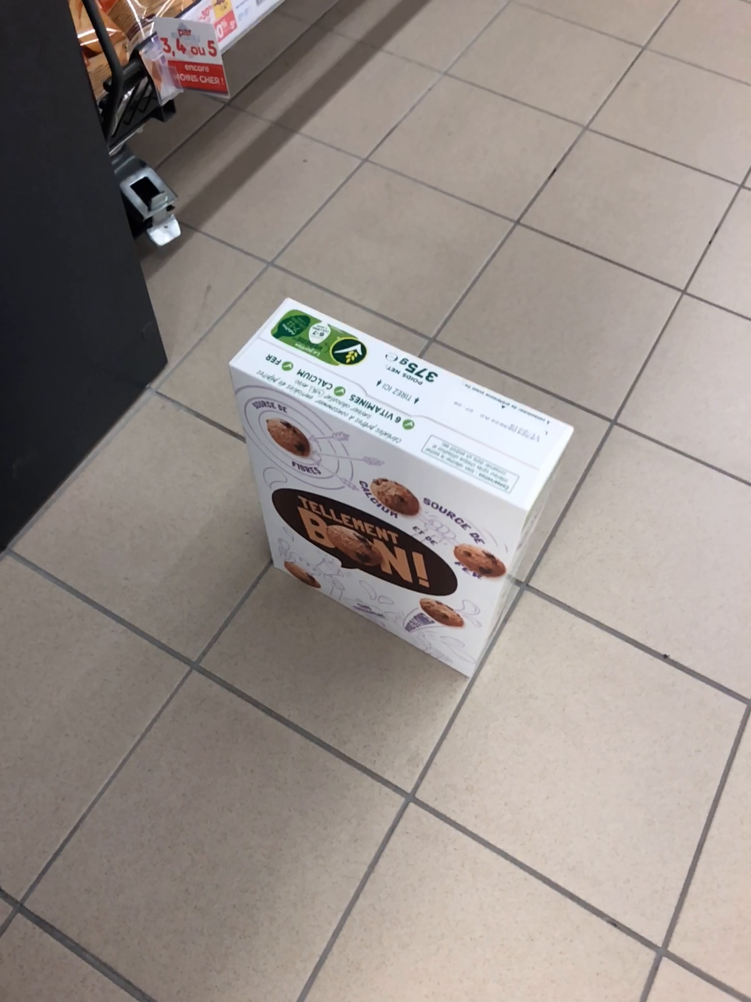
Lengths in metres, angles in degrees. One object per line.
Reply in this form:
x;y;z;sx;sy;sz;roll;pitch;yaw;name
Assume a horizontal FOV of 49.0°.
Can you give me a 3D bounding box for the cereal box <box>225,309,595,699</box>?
0.012;0.021;0.569;0.200;0.269;0.060;27;62;13;cereal box
